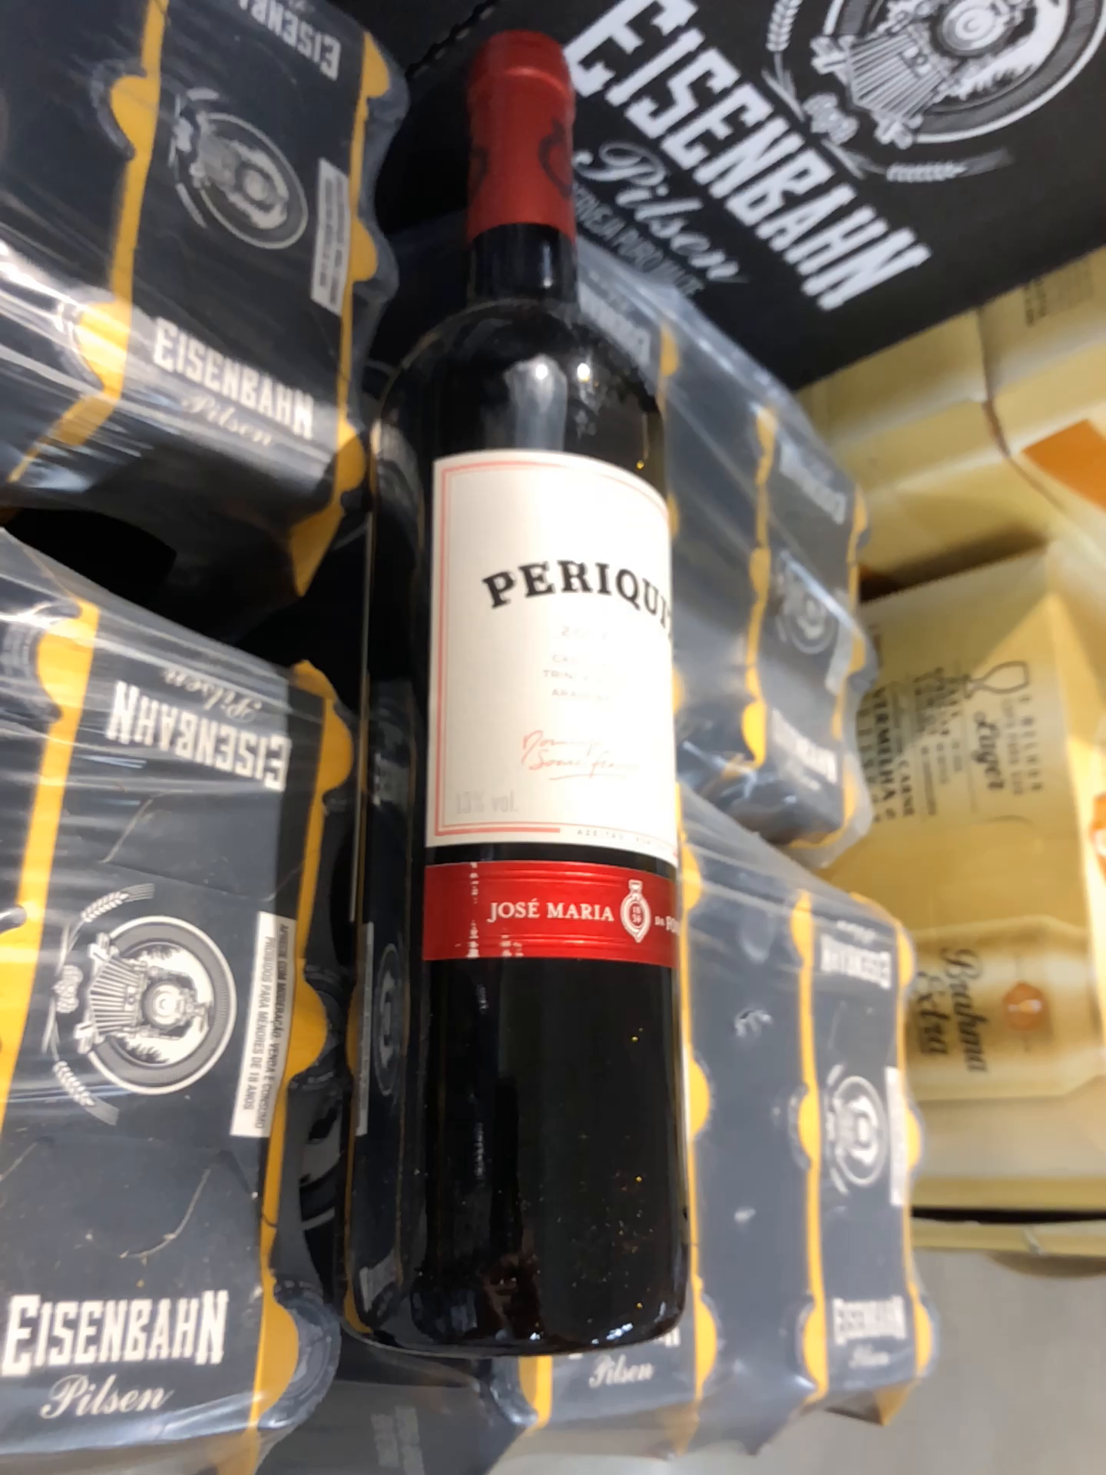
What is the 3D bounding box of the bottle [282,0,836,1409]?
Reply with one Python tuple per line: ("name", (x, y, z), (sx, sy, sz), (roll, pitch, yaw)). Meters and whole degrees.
("bottle", (0.002, -0.042, 0.284), (0.081, 0.069, 0.330), (17, 66, -45))
